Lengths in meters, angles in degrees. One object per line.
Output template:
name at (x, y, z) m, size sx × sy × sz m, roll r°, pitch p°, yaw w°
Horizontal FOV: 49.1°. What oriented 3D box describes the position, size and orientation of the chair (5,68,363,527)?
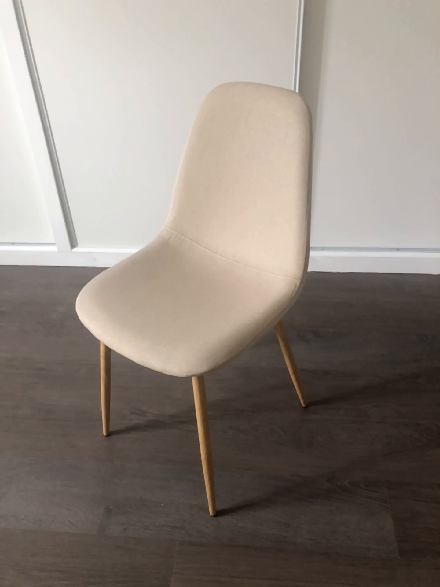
chair at (-0.040, -0.002, 1.130) m, size 0.430 × 0.845 × 0.503 m, roll 25°, pitch 44°, yaw 33°
